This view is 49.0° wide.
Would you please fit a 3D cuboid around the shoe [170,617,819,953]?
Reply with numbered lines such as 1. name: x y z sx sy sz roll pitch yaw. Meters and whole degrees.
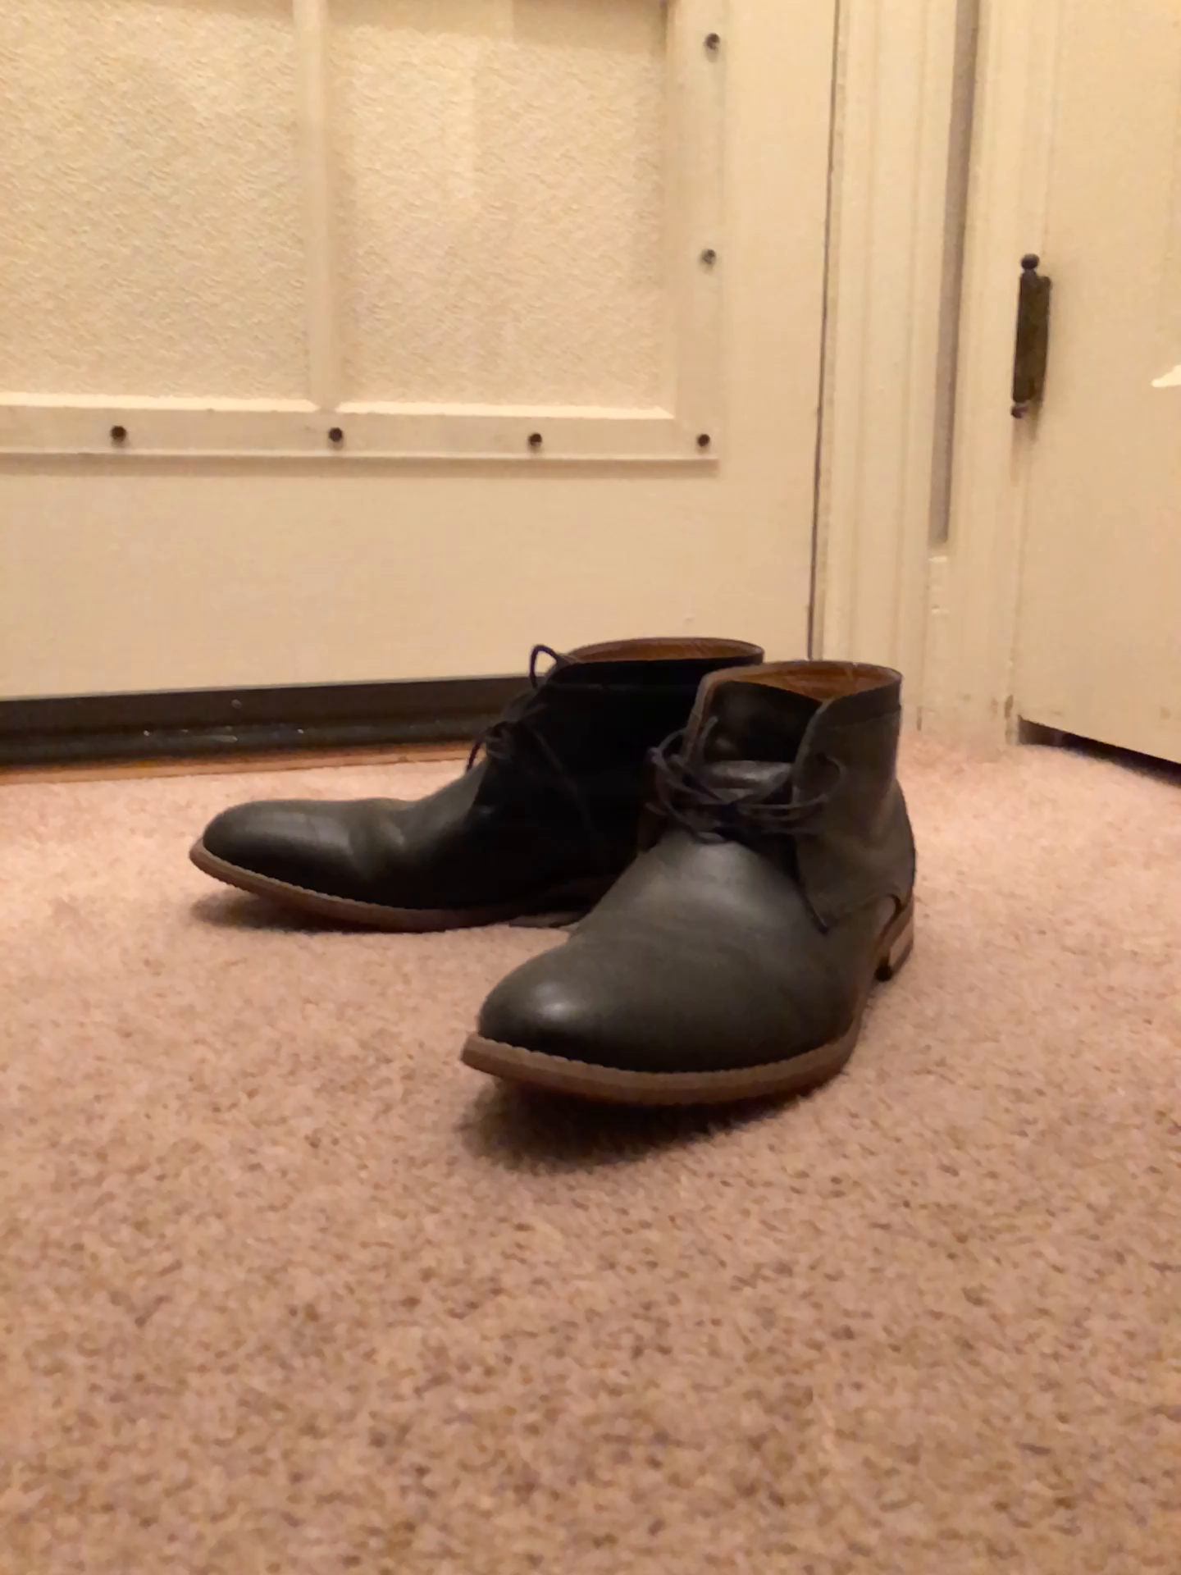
1. shoe: -0.050 -0.011 0.663 0.302 0.136 0.116 -3 12 -14

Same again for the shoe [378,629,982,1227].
1. shoe: 0.058 0.022 0.506 0.116 0.136 0.303 7 14 27
